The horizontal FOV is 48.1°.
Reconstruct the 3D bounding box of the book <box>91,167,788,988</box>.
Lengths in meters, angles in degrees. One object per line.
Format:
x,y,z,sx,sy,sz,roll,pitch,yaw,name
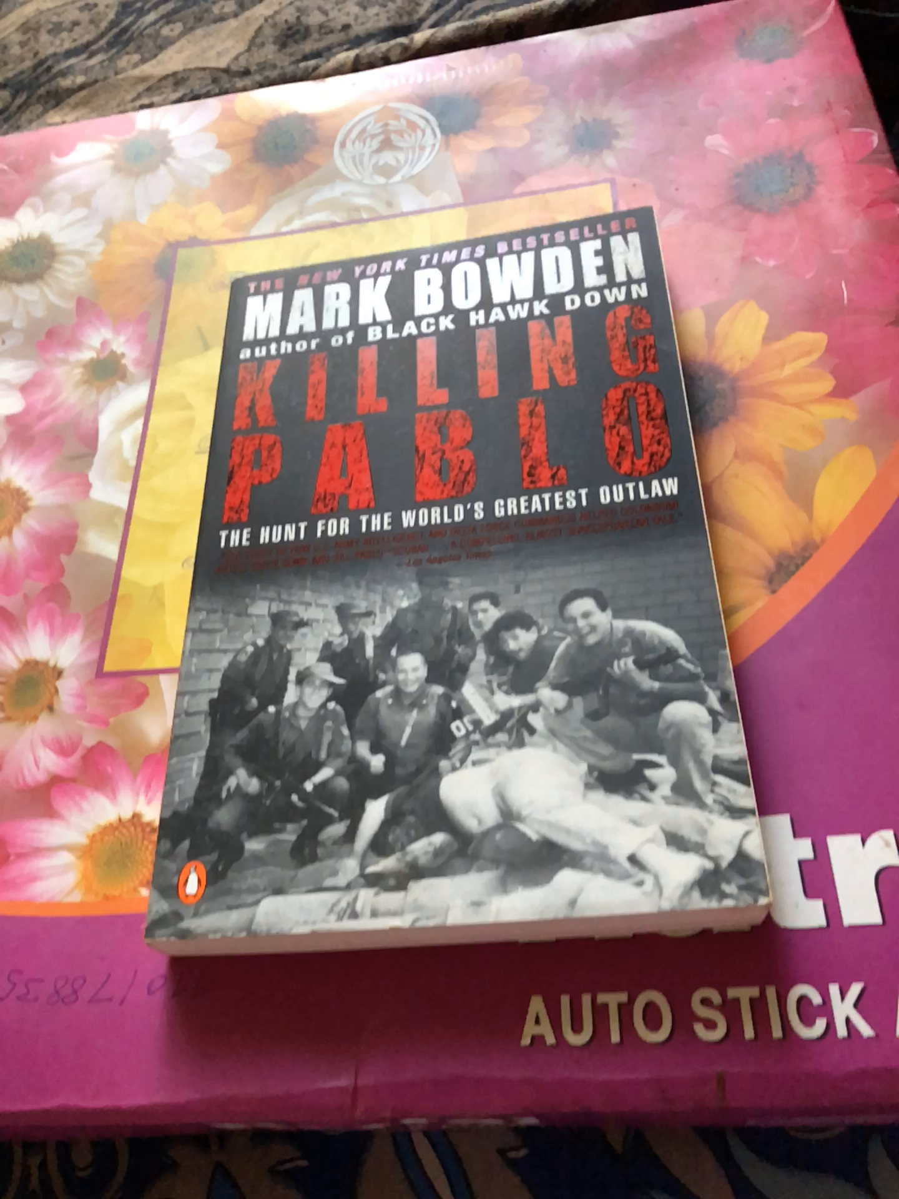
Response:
-0.004,-0.019,0.283,0.150,0.030,0.230,-8,57,13,book
